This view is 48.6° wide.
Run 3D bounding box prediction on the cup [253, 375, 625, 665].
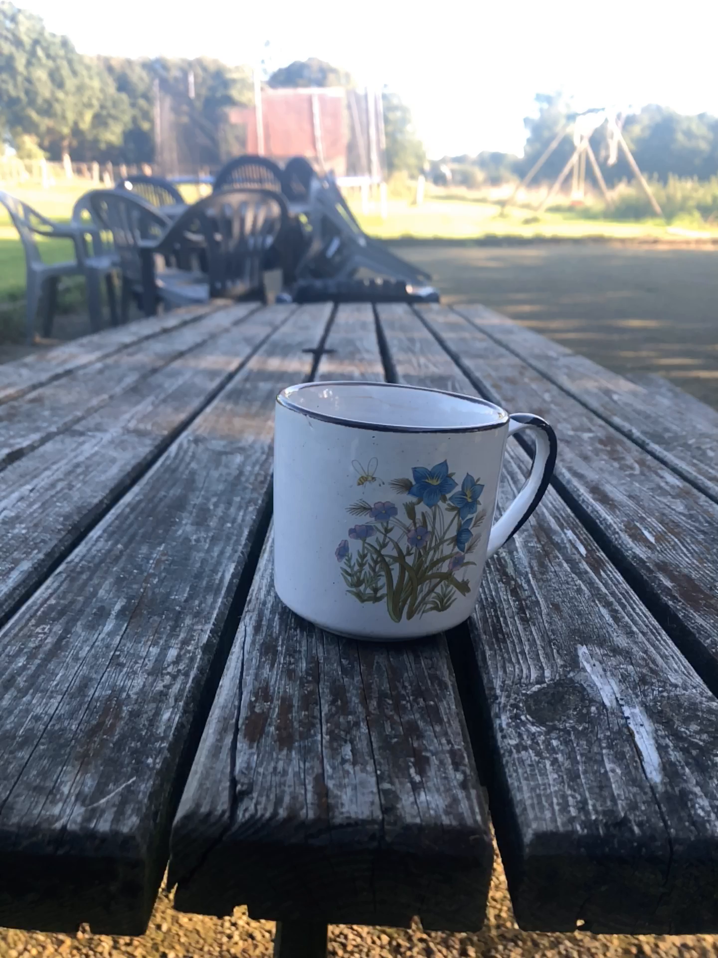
[{"bbox_3d":[0.024,0.007,0.302,0.108,0.078,0.086,-4,16,-22],"label":"cup"}]
